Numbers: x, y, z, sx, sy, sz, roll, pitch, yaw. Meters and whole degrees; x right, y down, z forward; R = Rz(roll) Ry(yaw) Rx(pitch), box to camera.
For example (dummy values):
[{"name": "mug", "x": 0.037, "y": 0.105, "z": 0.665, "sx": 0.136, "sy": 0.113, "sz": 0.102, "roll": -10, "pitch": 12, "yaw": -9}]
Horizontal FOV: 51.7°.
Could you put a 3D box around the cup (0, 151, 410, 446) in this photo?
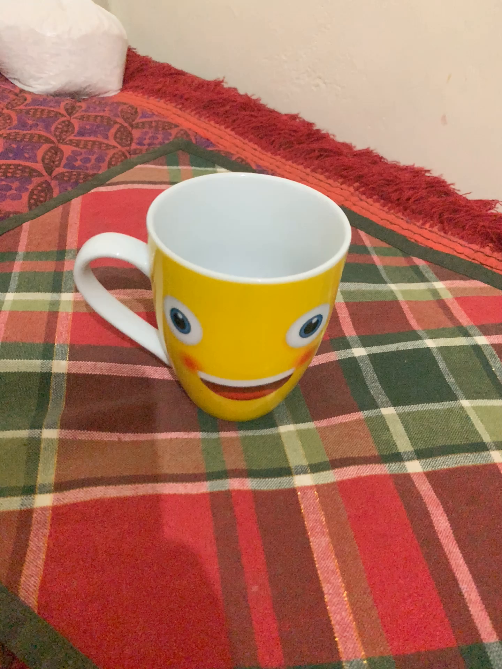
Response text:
[{"name": "cup", "x": -0.015, "y": -0.014, "z": 0.208, "sx": 0.120, "sy": 0.080, "sz": 0.080, "roll": 3, "pitch": 44, "yaw": -2}]
